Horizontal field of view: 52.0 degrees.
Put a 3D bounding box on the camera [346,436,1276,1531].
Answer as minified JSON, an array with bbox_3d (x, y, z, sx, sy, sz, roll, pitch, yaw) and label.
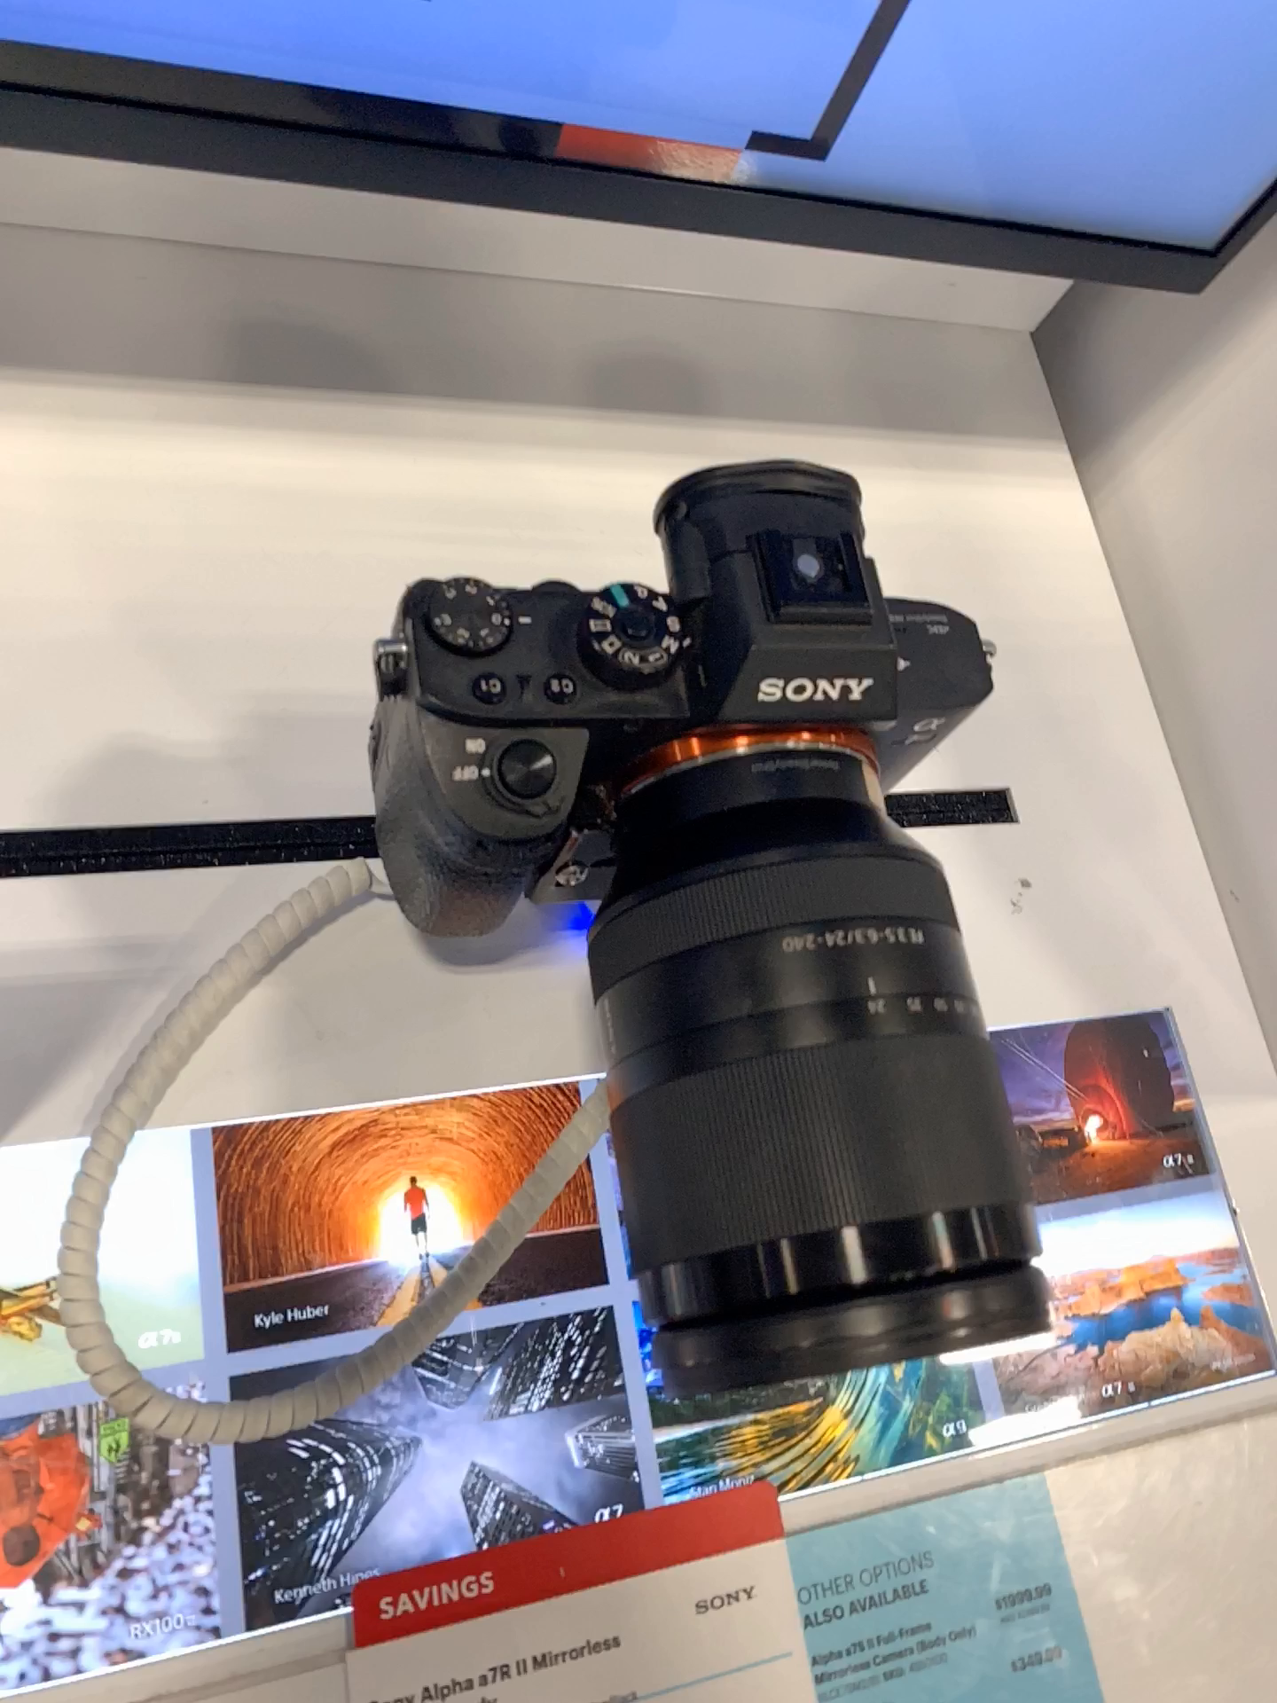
[{"bbox_3d":[0.021,0.021,0.265,0.130,0.100,0.172,-5,71,-20],"label":"camera"}]
